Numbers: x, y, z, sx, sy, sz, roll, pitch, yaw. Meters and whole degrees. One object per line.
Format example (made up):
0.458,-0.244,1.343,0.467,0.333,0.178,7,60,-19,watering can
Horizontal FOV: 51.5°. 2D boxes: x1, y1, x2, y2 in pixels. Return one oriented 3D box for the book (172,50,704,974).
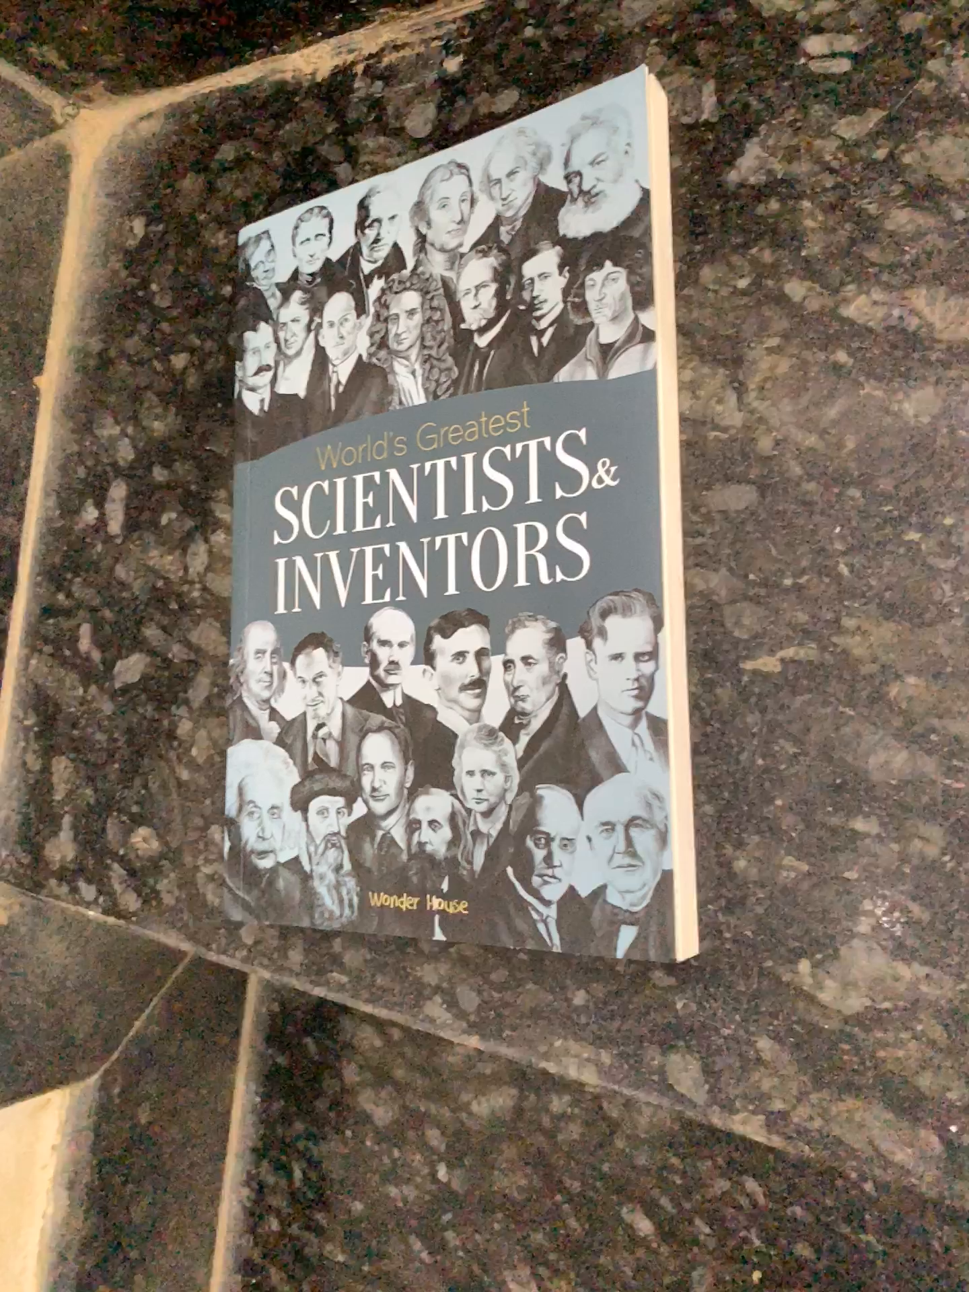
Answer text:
-0.019,-0.029,0.256,0.140,0.020,0.200,-5,81,30,book
